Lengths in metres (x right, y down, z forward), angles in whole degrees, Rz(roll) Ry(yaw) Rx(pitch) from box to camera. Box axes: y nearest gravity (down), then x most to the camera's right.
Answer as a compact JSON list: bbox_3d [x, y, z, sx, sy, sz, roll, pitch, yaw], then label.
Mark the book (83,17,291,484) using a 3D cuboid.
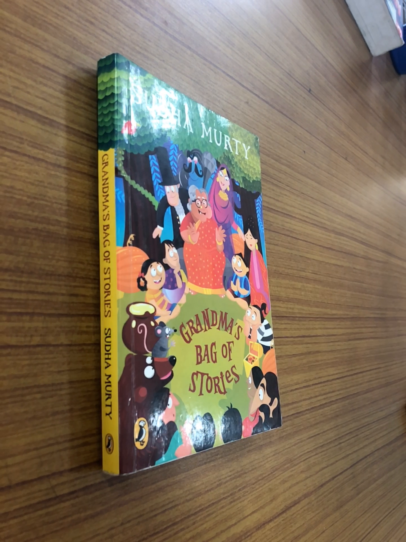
[{"bbox_3d":[-0.003,-0.010,0.260,0.131,0.030,0.210,7,77,-50],"label":"book"}]
